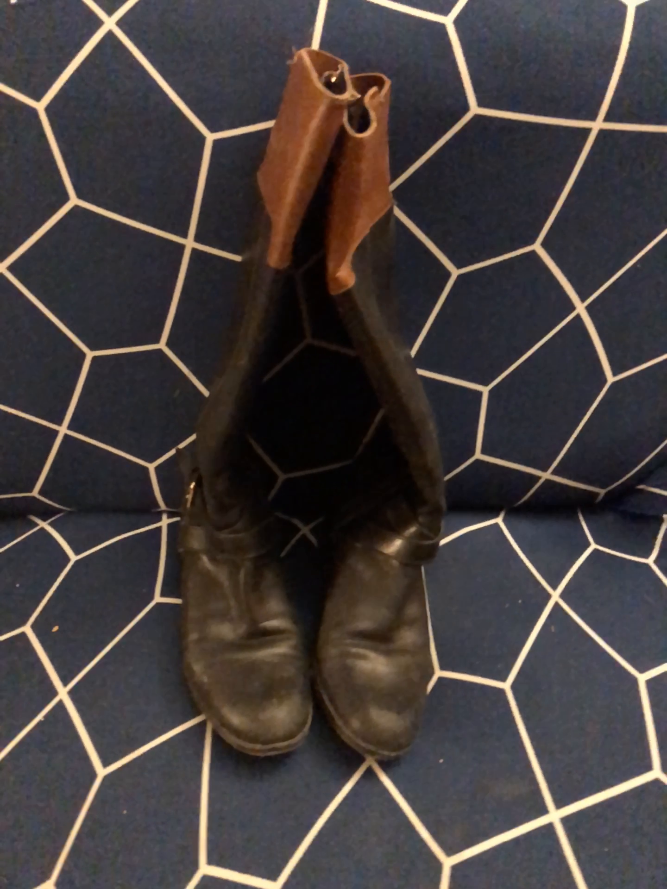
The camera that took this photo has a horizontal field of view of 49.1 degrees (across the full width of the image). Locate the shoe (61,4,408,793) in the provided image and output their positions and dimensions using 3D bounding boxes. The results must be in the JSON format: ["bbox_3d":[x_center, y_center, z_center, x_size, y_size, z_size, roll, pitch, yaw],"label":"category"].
[{"bbox_3d":[-0.056,-0.010,0.474,0.110,0.427,0.272,0,41,-6],"label":"shoe"}]

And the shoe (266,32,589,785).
[{"bbox_3d":[0.033,-0.006,0.446,0.100,0.378,0.252,5,42,2],"label":"shoe"}]
